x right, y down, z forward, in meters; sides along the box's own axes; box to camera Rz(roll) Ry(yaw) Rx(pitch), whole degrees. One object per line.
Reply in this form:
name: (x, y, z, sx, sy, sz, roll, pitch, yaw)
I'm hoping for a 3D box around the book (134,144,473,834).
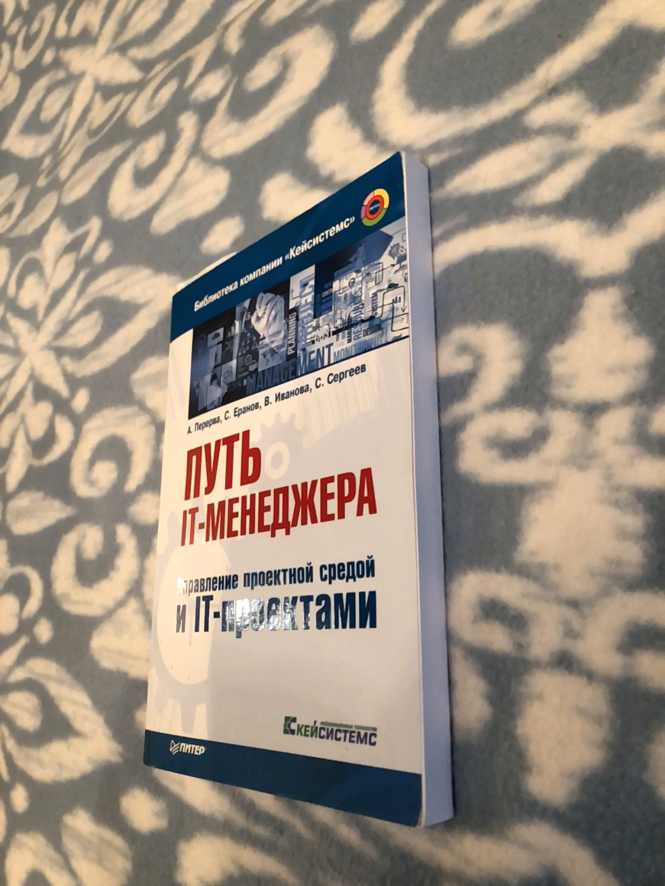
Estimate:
book: (-0.024, 0.019, 0.307, 0.173, 0.019, 0.228, -16, 68, 45)
